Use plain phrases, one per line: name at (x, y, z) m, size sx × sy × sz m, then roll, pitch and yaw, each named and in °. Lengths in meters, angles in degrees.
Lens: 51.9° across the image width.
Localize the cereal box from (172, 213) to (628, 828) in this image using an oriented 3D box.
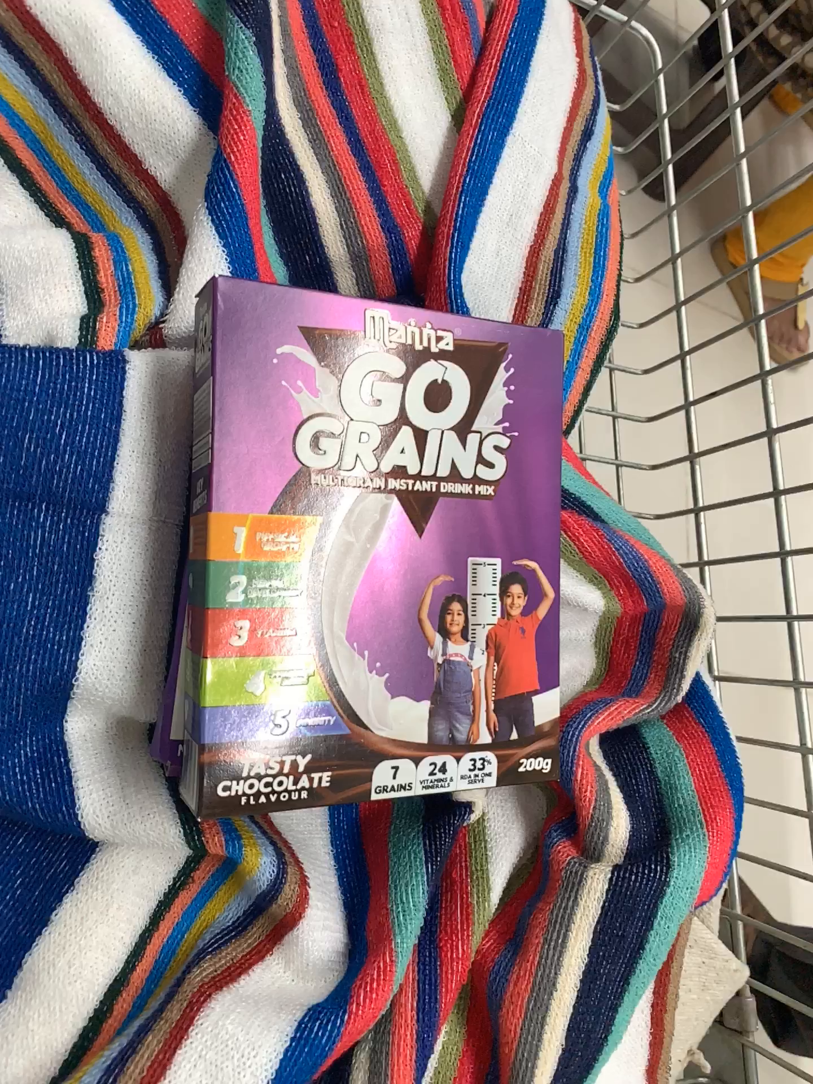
cereal box at (0.001, -0.003, 0.285) m, size 0.140 × 0.050 × 0.170 m, roll 3°, pitch 89°, yaw -27°
